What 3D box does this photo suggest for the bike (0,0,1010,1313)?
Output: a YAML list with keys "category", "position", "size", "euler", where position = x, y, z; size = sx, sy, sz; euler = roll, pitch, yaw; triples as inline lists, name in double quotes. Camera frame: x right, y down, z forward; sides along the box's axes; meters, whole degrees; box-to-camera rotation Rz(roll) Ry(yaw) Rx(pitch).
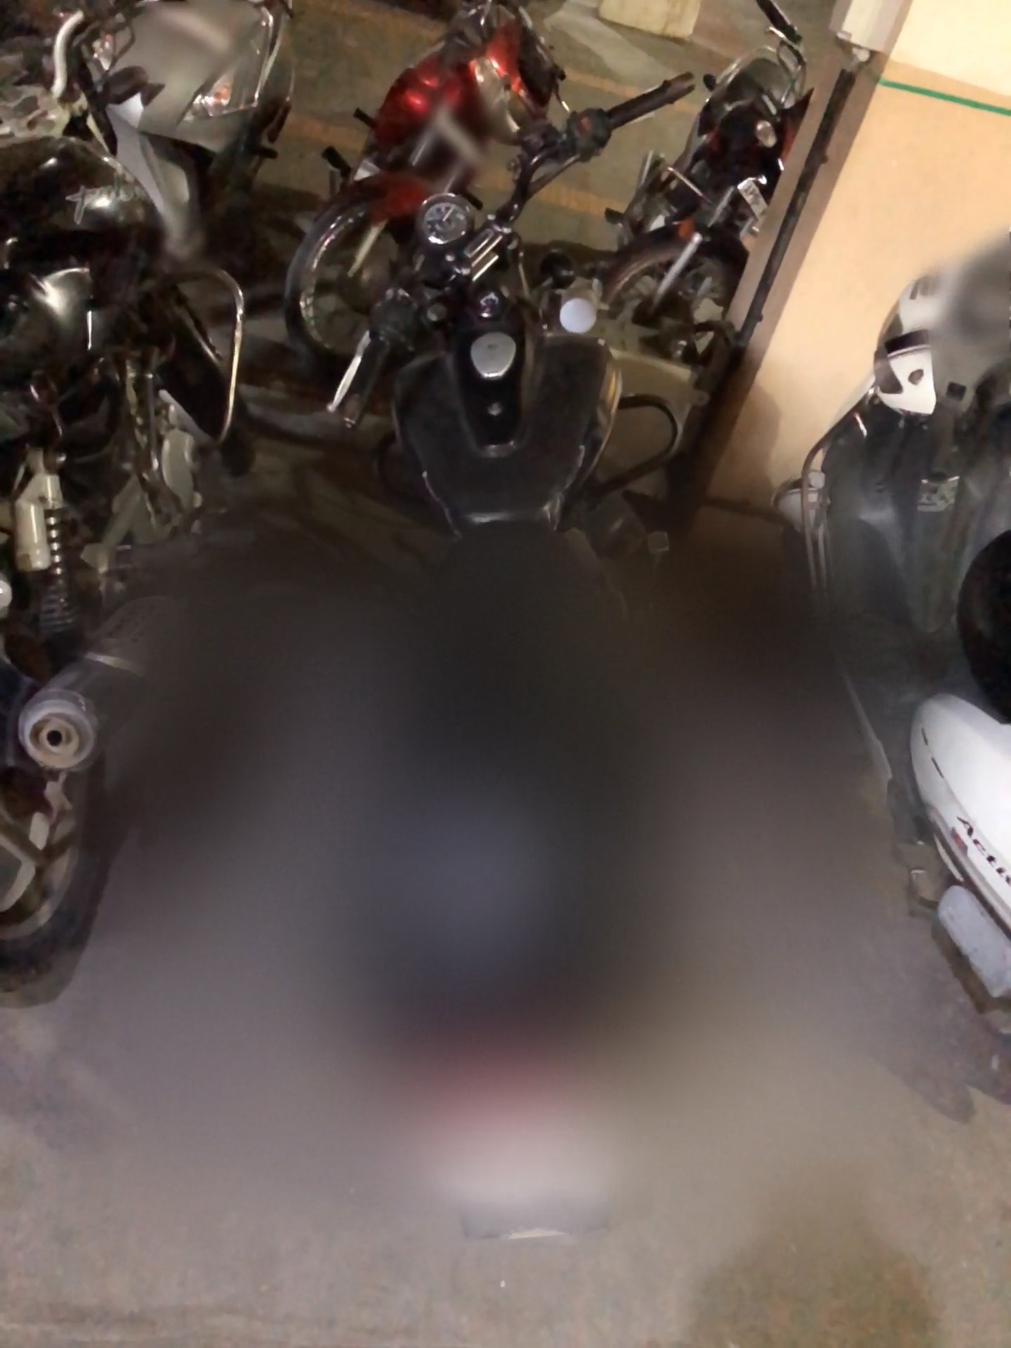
- category: "bike"
  position: [-0.126, -0.234, 1.644]
  size: [0.863, 1.251, 1.677]
  euler: [7, 41, -13]
